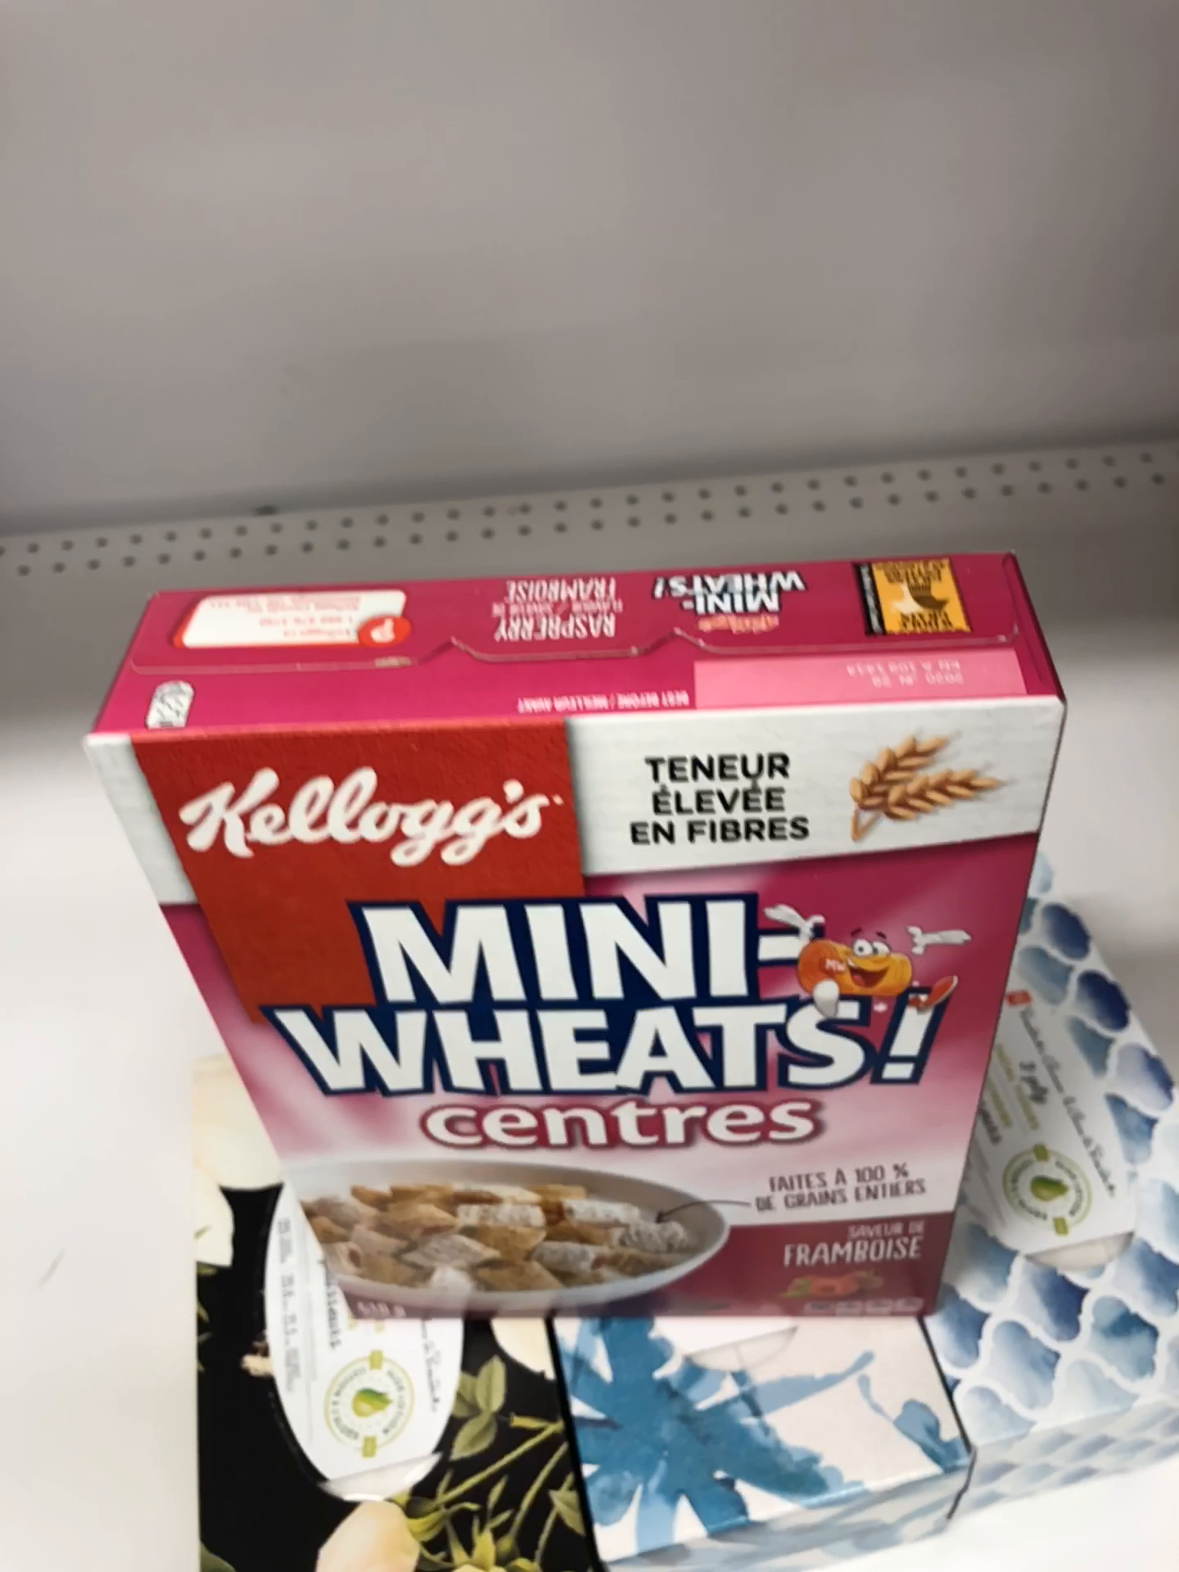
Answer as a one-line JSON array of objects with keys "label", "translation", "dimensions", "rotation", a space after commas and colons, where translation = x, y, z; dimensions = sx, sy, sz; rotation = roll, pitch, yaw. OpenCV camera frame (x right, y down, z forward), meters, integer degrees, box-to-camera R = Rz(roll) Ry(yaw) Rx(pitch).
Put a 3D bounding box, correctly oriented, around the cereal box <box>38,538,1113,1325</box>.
[{"label": "cereal box", "translation": [0.005, 0.065, 0.368], "dimensions": [0.210, 0.269, 0.050], "rotation": [-2, 43, 5]}]
